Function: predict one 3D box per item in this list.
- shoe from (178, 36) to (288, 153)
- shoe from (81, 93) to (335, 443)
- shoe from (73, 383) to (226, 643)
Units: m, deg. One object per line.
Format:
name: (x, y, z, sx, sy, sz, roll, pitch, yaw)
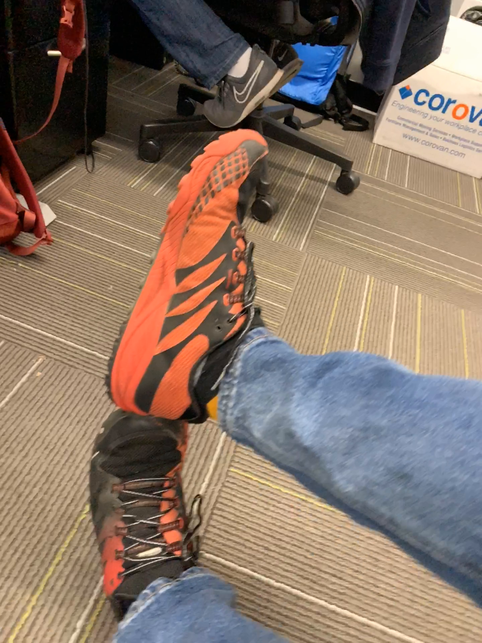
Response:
shoe: (-0.036, -0.780, 1.736, 0.164, 0.355, 0.156, 43, 56, -20)
shoe: (-0.036, -0.052, 0.534, 0.142, 0.304, 0.118, 22, 9, -3)
shoe: (-0.115, 0.228, 0.588, 0.129, 0.135, 0.289, -4, 87, -23)
